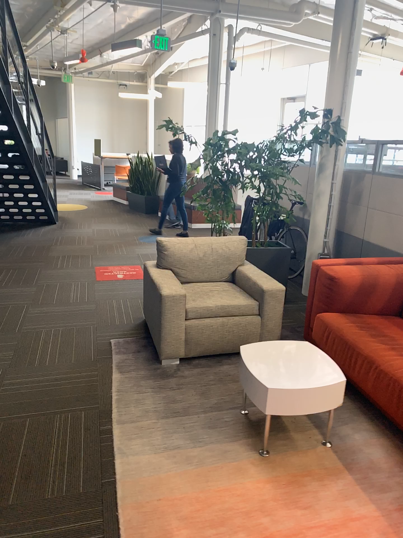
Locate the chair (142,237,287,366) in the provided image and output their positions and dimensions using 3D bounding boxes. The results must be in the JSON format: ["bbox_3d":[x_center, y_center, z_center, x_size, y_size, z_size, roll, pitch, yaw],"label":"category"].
[{"bbox_3d":[0.042,0.193,3.346,0.920,0.727,0.874,-2,17,-16],"label":"chair"}]
